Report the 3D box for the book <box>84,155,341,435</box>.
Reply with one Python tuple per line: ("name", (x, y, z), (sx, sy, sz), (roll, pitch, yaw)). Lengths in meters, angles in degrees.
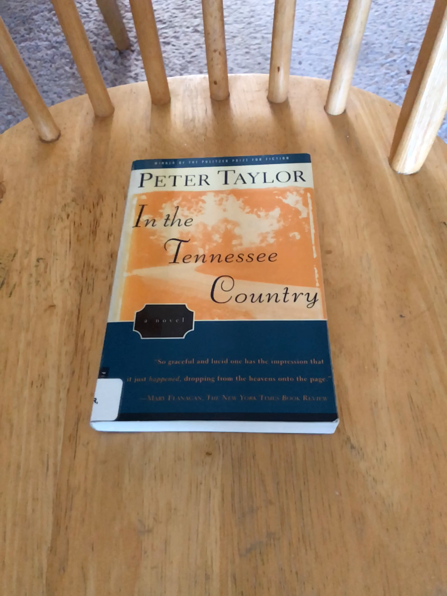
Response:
("book", (-0.004, -0.013, 0.326), (0.136, 0.025, 0.200), (-1, 57, 4))
